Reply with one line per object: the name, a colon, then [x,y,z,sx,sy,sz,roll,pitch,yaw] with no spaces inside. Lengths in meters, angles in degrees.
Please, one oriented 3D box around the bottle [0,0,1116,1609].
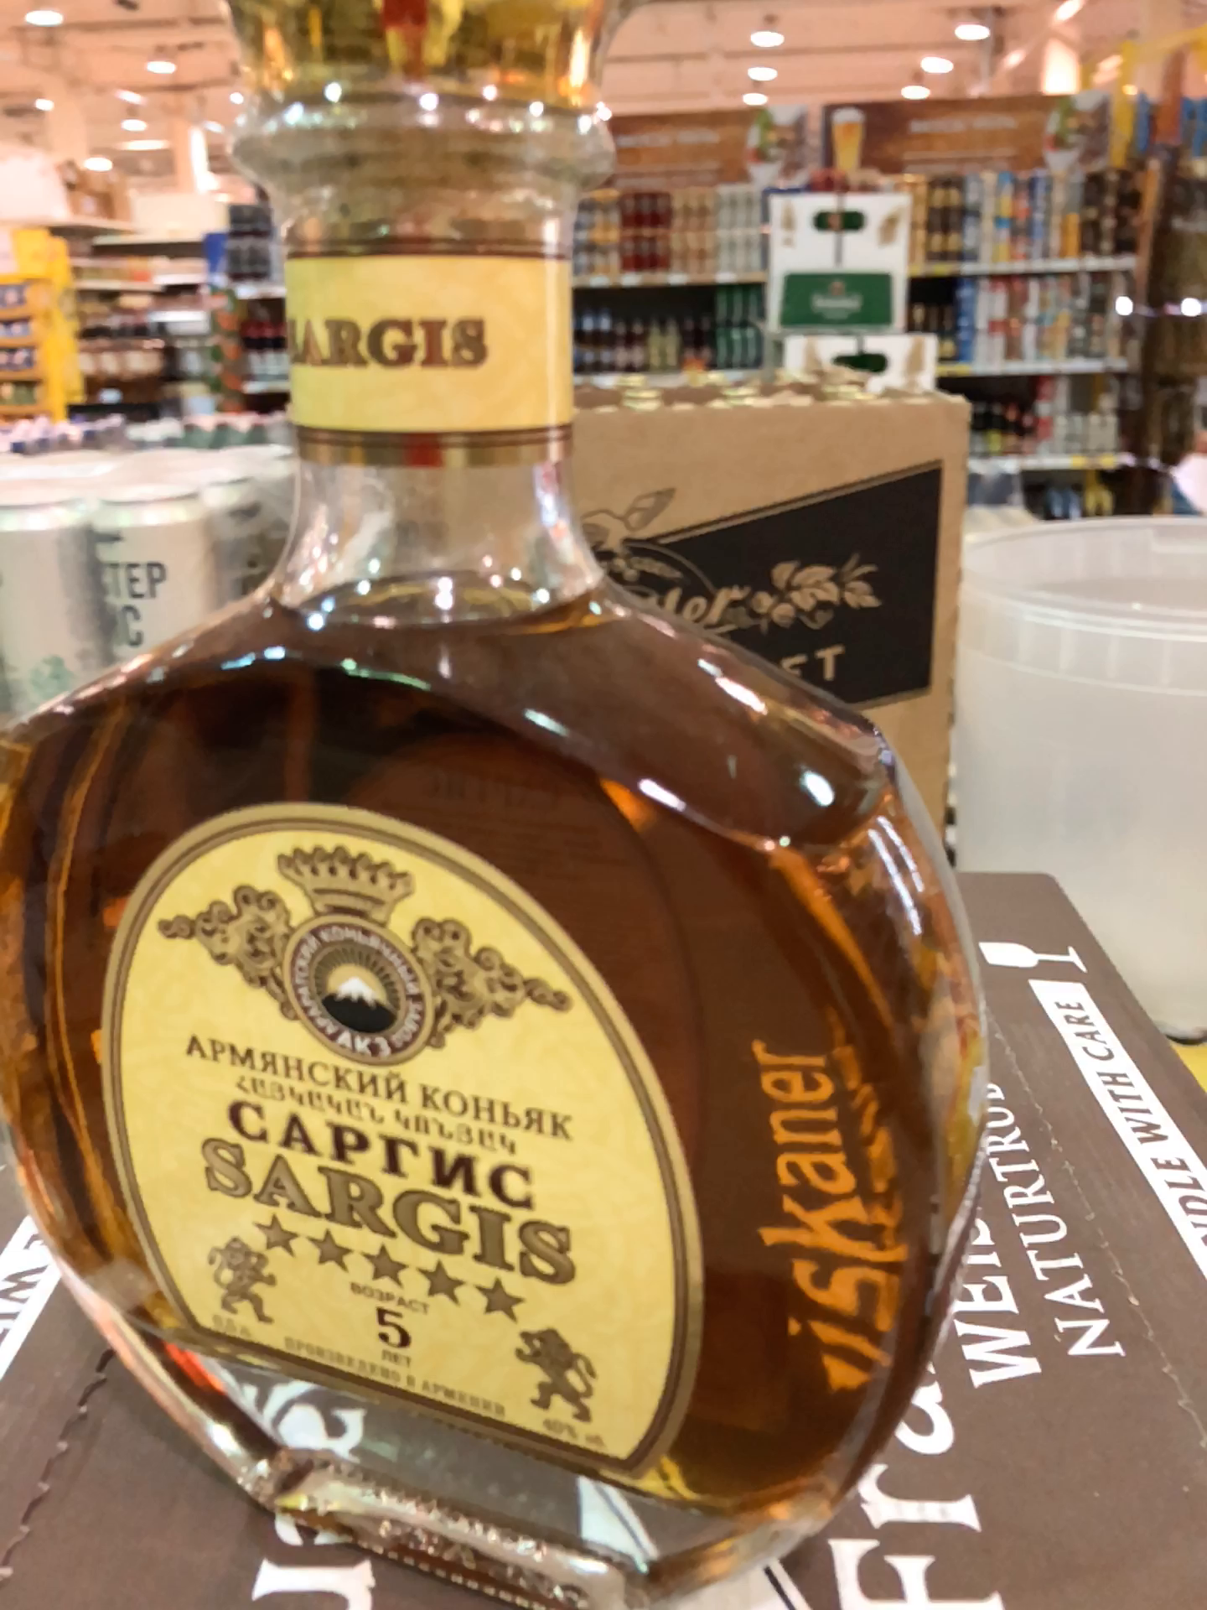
bottle: [-0.017,0.007,0.178,0.140,0.209,0.070,6,21,19]
